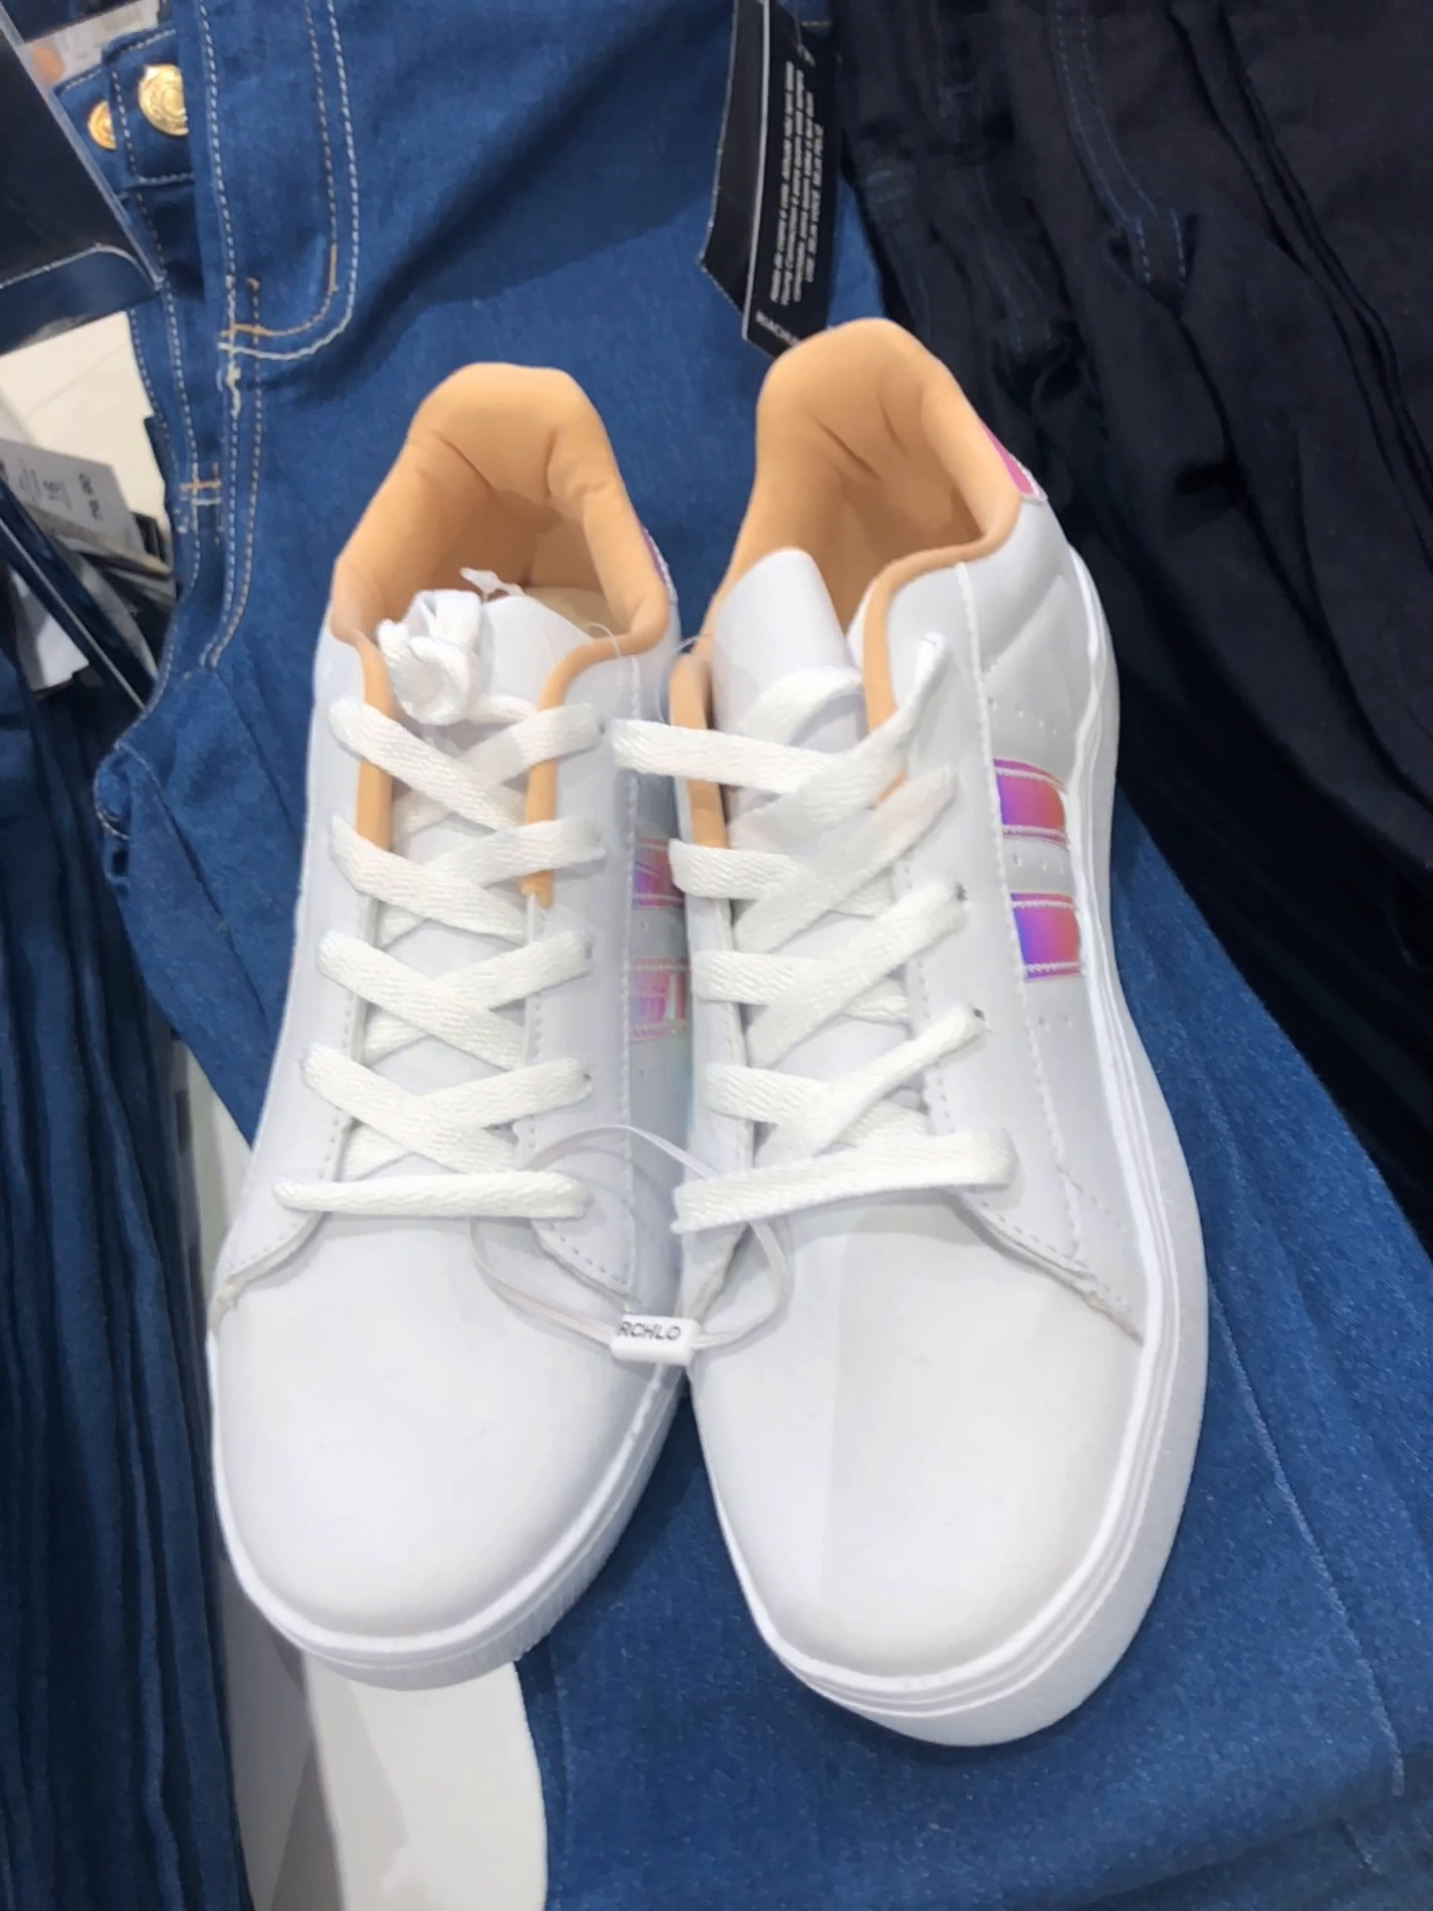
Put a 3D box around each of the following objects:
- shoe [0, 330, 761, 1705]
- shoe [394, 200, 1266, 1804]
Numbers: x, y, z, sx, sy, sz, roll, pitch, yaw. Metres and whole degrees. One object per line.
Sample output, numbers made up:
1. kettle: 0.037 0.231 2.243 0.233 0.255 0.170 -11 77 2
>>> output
1. shoe: -0.042 0.001 0.329 0.090 0.109 0.261 1 57 4
2. shoe: 0.030 0.001 0.291 0.090 0.109 0.261 -10 55 20
